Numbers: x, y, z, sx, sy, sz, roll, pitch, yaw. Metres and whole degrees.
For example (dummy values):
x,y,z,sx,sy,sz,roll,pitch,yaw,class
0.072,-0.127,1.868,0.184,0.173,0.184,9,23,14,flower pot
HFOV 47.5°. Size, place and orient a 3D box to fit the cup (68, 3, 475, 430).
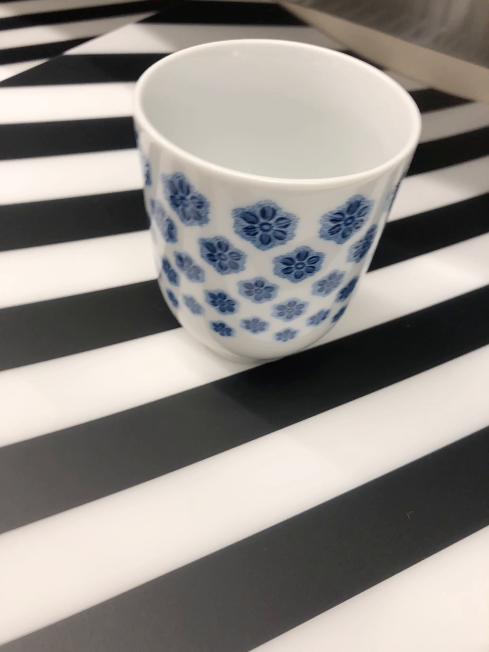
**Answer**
x,y,z,sx,sy,sz,roll,pitch,yaw,class
0.008,-0.035,0.170,0.070,0.080,0.080,31,53,21,cup
